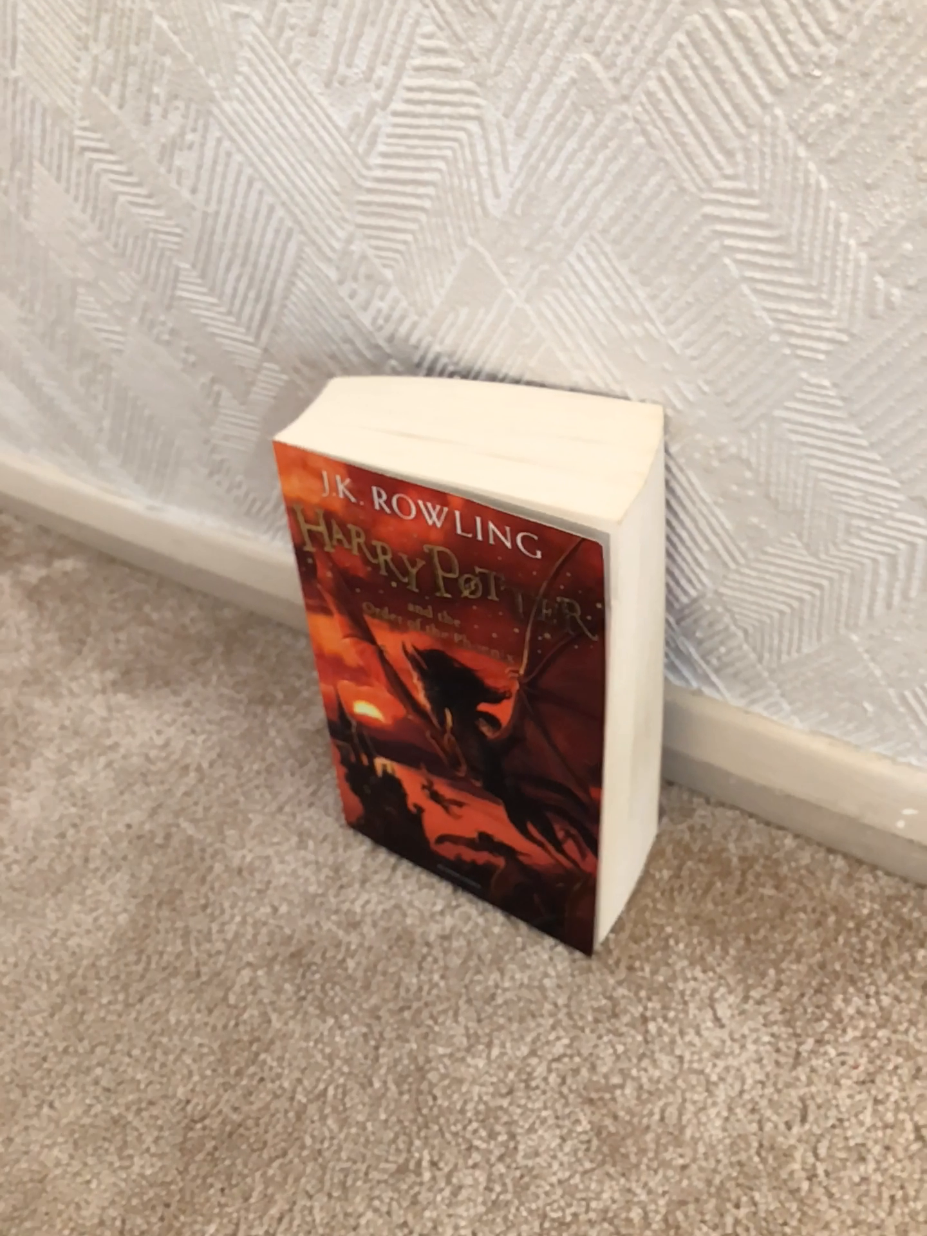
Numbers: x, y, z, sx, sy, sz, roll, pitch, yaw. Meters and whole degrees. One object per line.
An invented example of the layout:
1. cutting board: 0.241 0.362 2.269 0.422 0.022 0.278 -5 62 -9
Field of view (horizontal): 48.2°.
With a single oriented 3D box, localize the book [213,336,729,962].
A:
1. book: 0.007 0.010 0.405 0.148 0.189 0.092 21 45 30
